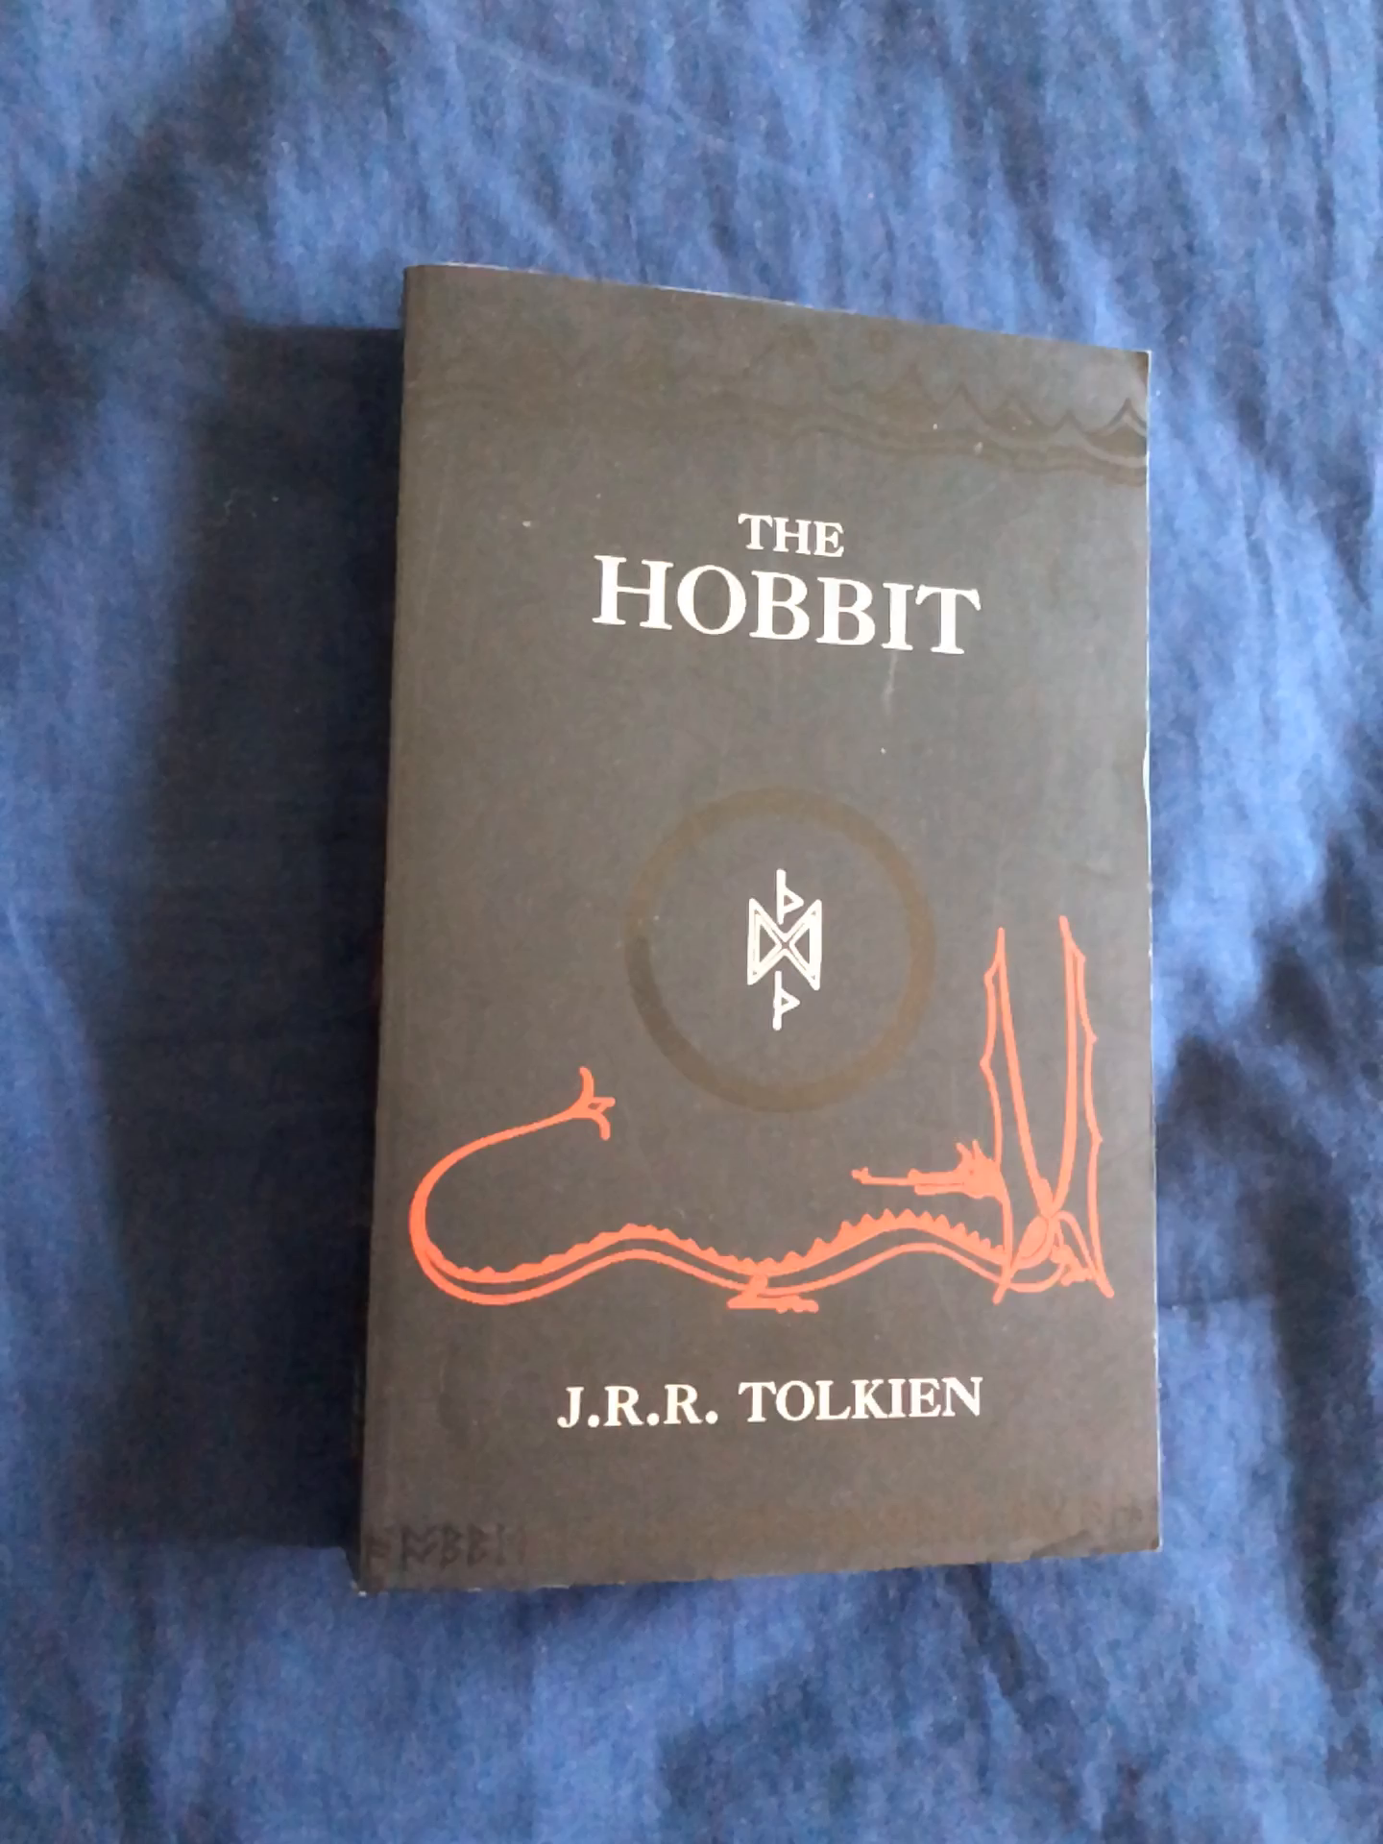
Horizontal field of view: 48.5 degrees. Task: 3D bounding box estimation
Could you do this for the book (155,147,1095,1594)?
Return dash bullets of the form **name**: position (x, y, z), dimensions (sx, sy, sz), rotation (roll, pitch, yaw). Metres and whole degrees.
- **book**: position (-0.008, -0.007, 0.222), dimensions (0.120, 0.040, 0.180), rotation (2, 83, -14)
